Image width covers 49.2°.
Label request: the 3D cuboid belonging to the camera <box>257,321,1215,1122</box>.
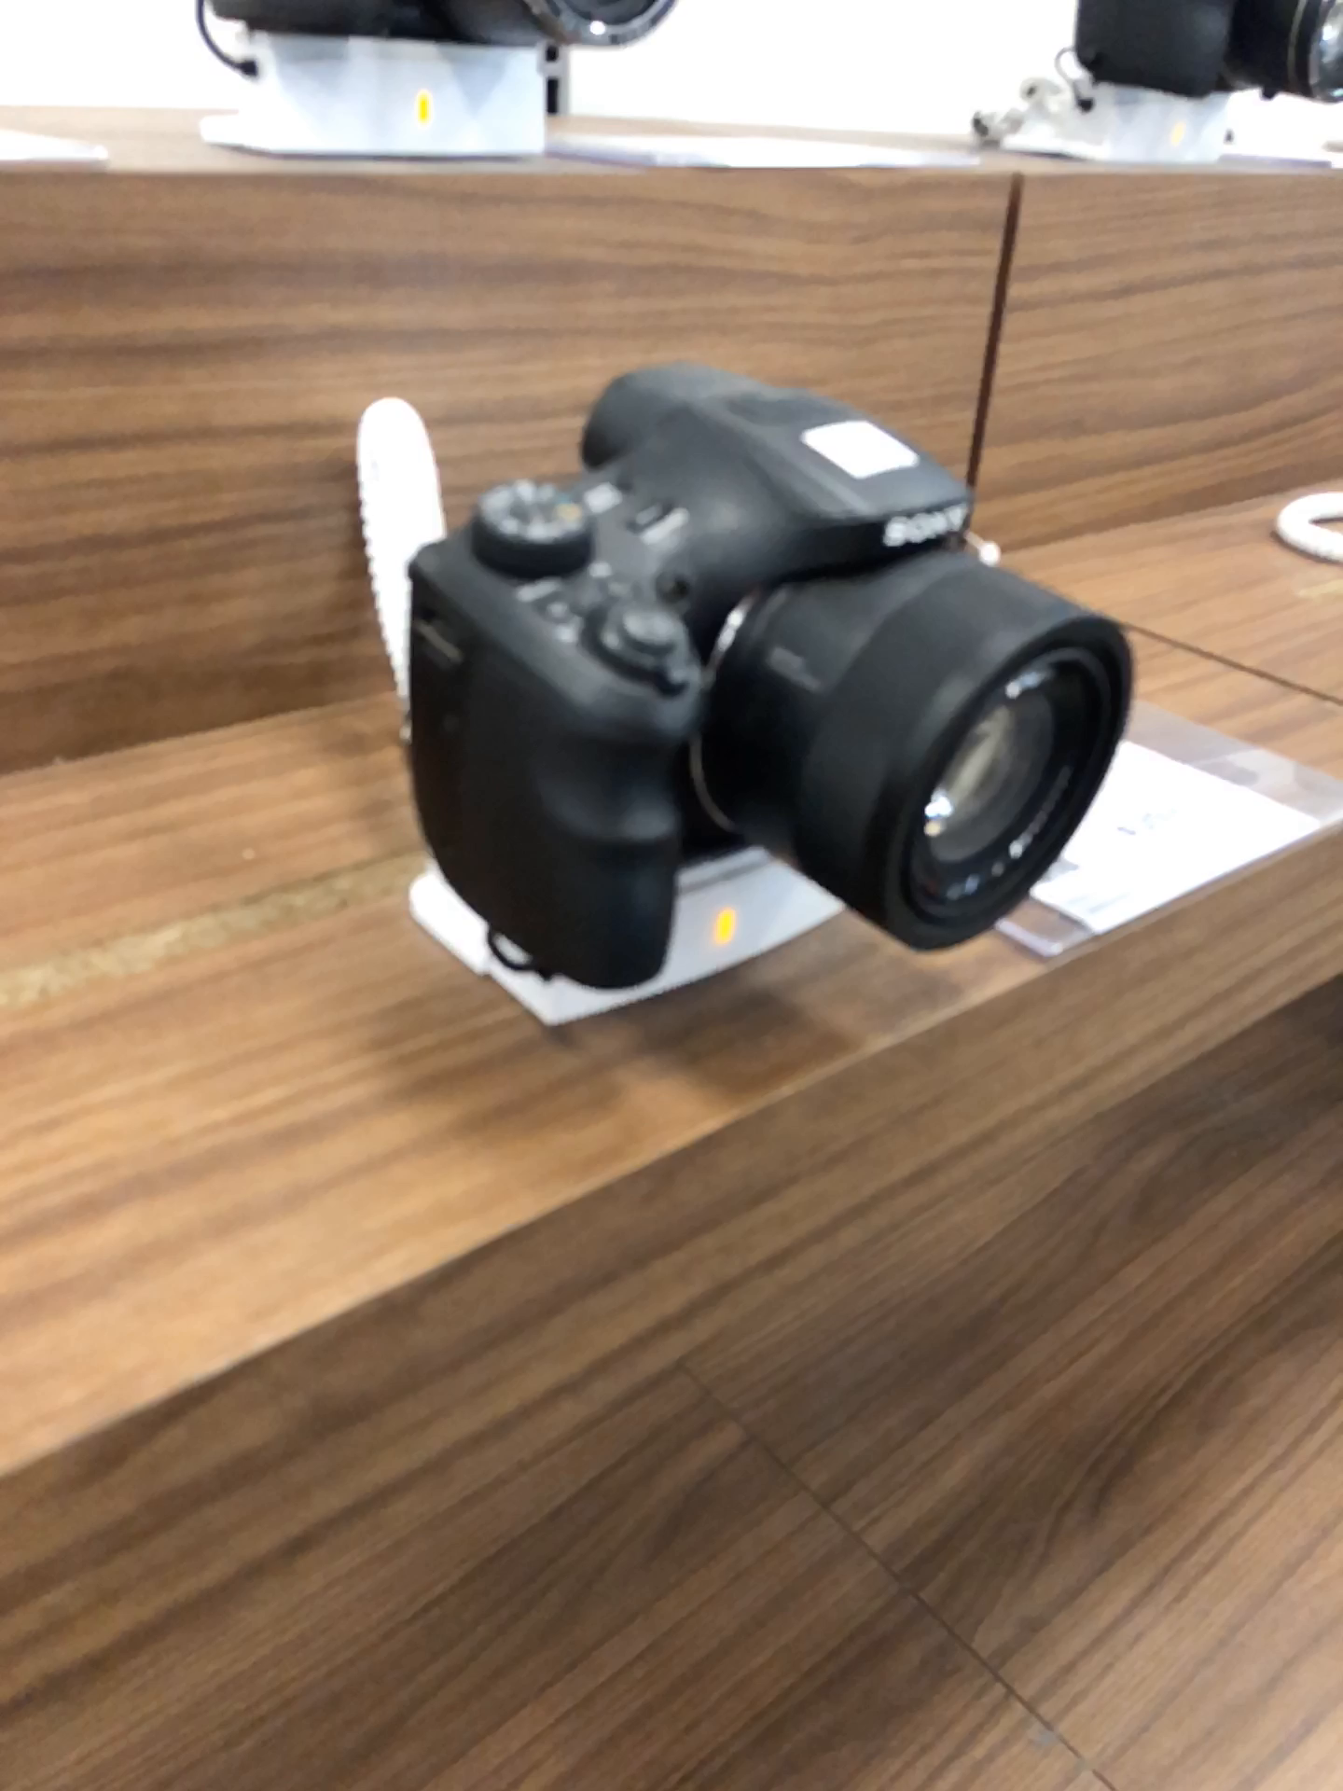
[{"bbox_3d":[0.007,-0.053,0.316,0.130,0.100,0.140,-21,41,-36],"label":"camera"}]
